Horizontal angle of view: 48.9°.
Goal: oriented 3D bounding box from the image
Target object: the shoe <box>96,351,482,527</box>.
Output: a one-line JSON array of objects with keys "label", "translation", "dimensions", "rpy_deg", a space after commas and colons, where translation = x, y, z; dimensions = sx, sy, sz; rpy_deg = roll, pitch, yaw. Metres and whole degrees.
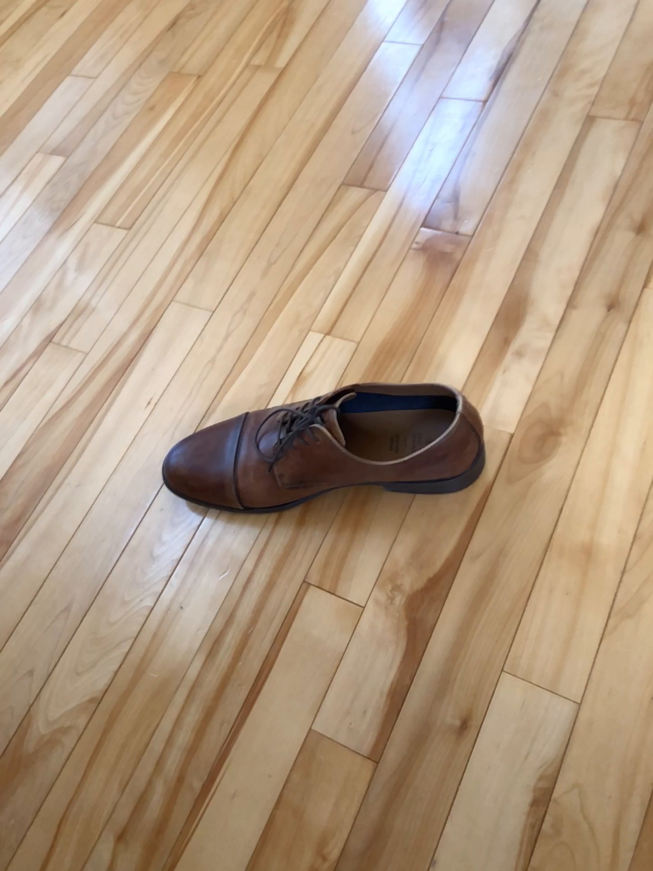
[{"label": "shoe", "translation": [-0.027, 0.010, 0.629], "dimensions": [0.310, 0.100, 0.100], "rpy_deg": [-4, 61, 14]}]
